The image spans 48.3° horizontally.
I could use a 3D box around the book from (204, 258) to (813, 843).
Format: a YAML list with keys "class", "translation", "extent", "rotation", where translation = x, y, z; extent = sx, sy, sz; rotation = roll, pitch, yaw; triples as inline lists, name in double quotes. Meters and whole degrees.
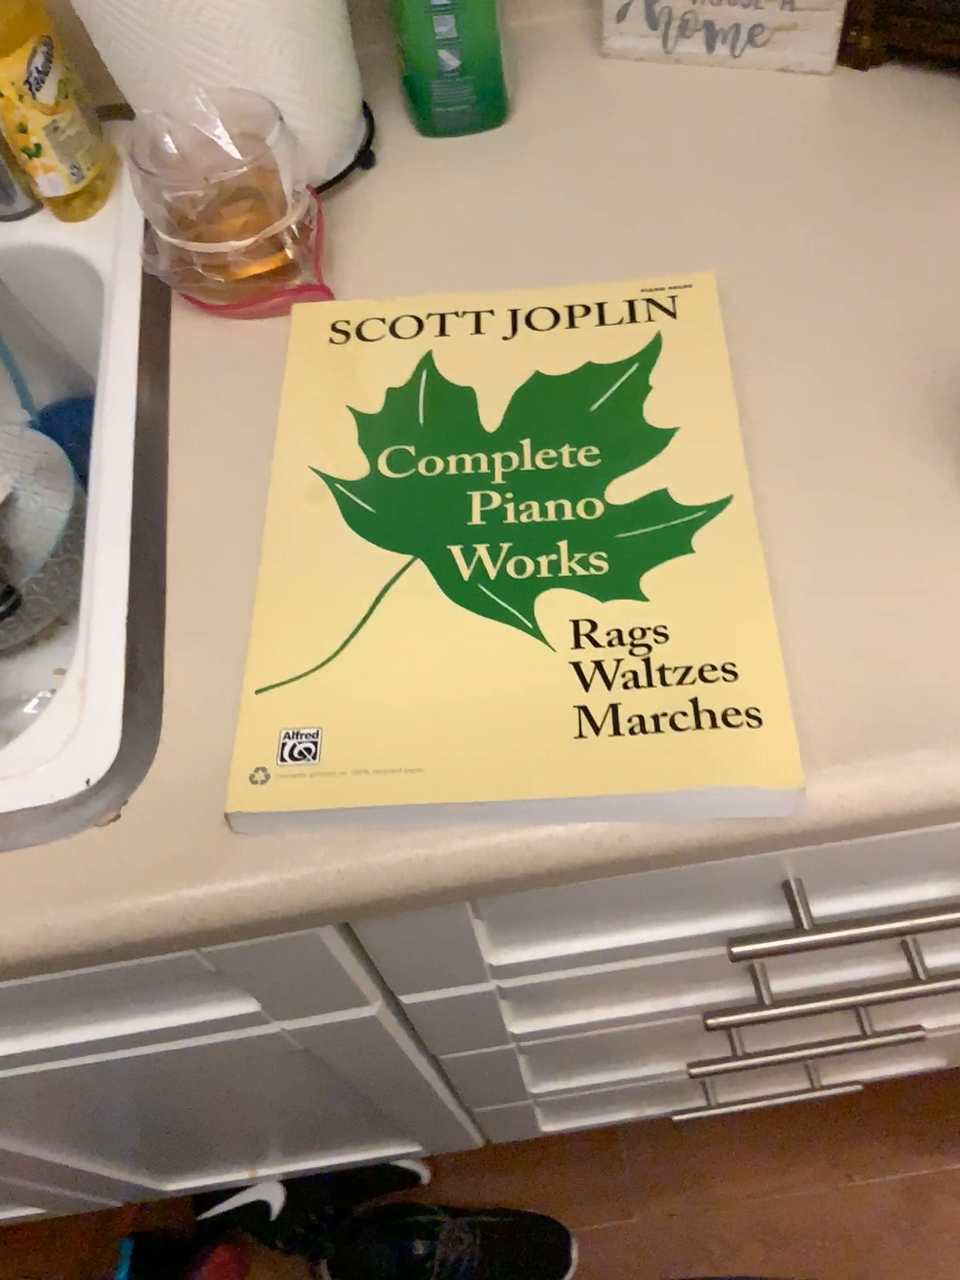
- class: "book"
  translation: [0.011, -0.061, 0.521]
  extent: [0.240, 0.030, 0.320]
  rotation: [-2, 57, 4]
